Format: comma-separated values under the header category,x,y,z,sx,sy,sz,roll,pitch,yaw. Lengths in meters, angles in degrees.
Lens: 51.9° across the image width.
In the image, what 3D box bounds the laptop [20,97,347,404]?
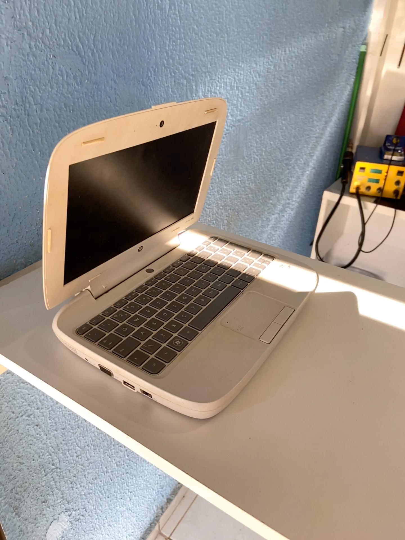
category,x,y,z,sx,sy,sz,roll,pitch,yaw
laptop,0.001,-0.050,0.416,0.177,0.172,0.249,21,36,26
